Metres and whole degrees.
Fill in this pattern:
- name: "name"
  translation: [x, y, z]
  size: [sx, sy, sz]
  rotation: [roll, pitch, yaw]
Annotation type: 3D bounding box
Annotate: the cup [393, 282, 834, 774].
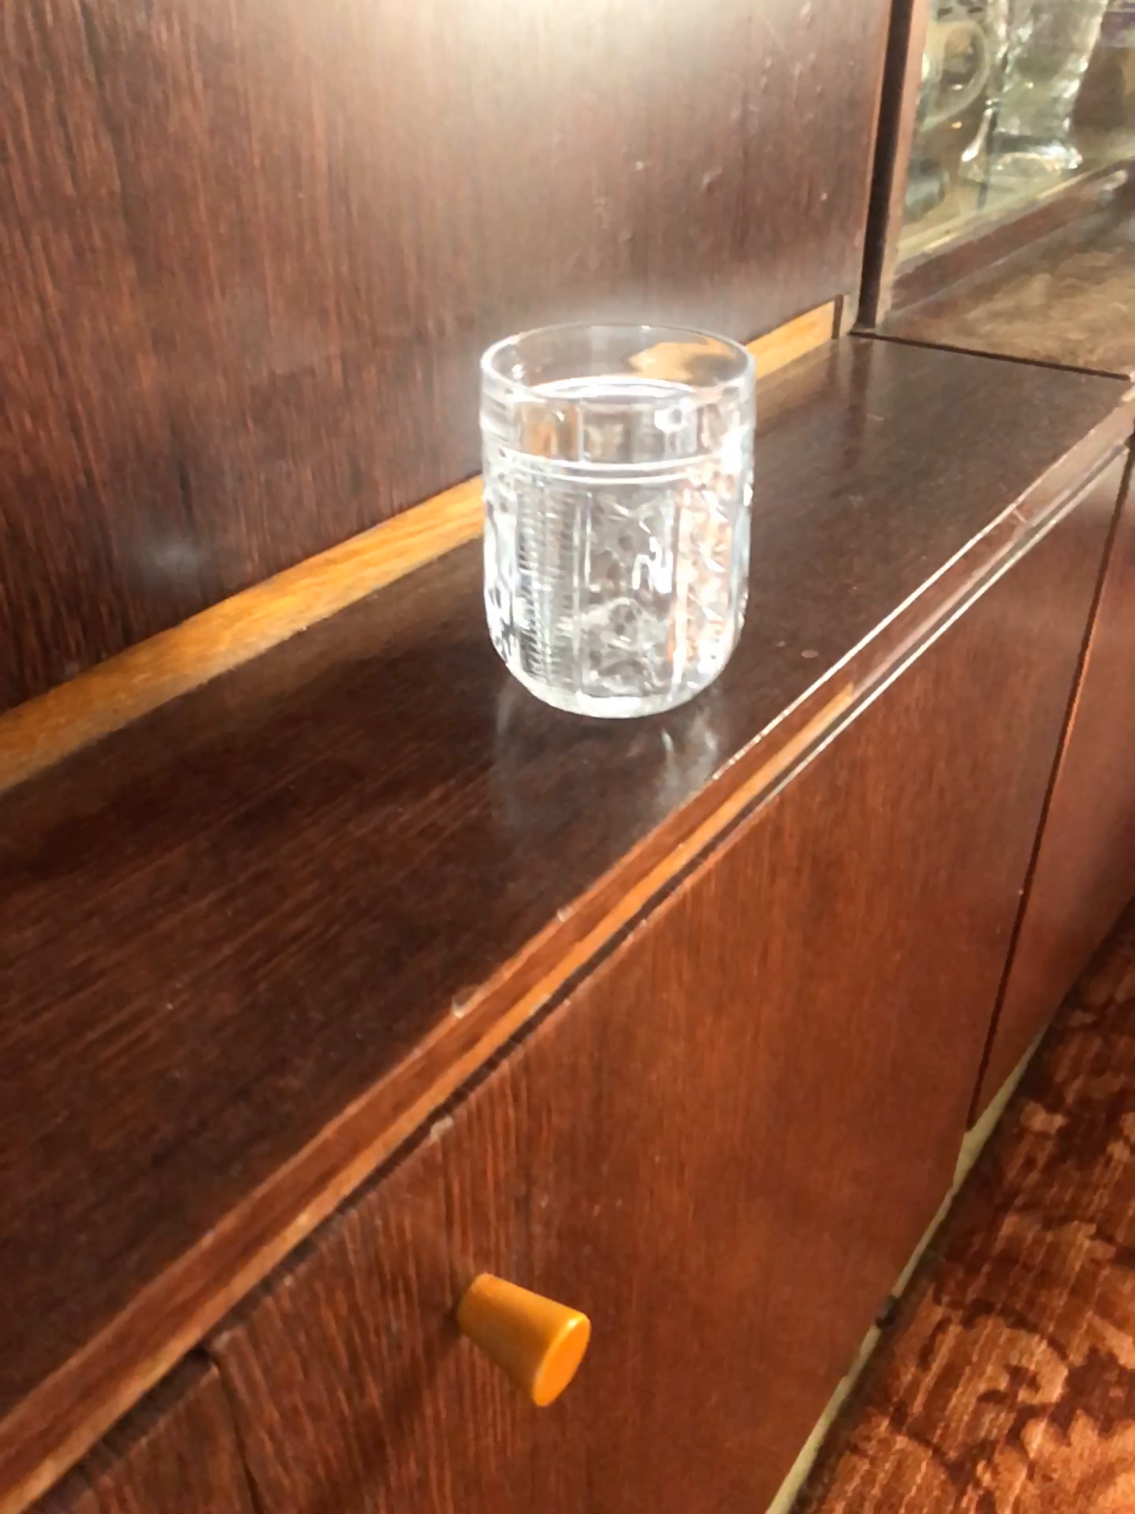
- name: "cup"
  translation: [0.016, -0.062, 0.313]
  size: [0.070, 0.080, 0.100]
  rotation: [13, 36, 19]
